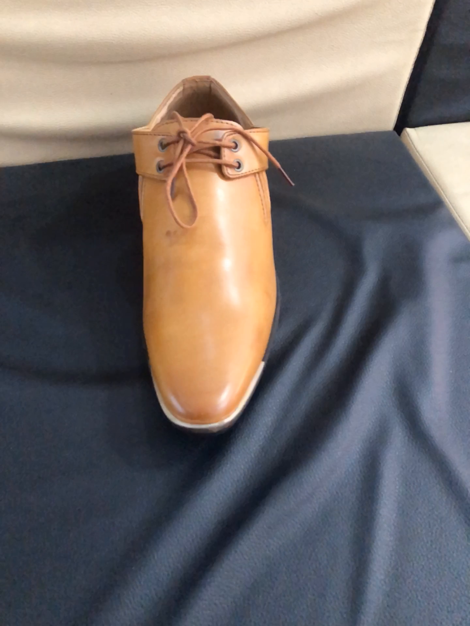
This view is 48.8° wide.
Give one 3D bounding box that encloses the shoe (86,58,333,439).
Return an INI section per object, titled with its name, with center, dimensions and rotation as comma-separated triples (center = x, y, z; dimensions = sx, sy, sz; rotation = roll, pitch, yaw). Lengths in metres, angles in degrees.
[shoe]
center = -0.017, -0.062, 0.345
dimensions = 0.110, 0.080, 0.271
rotation = -1, 53, -3
